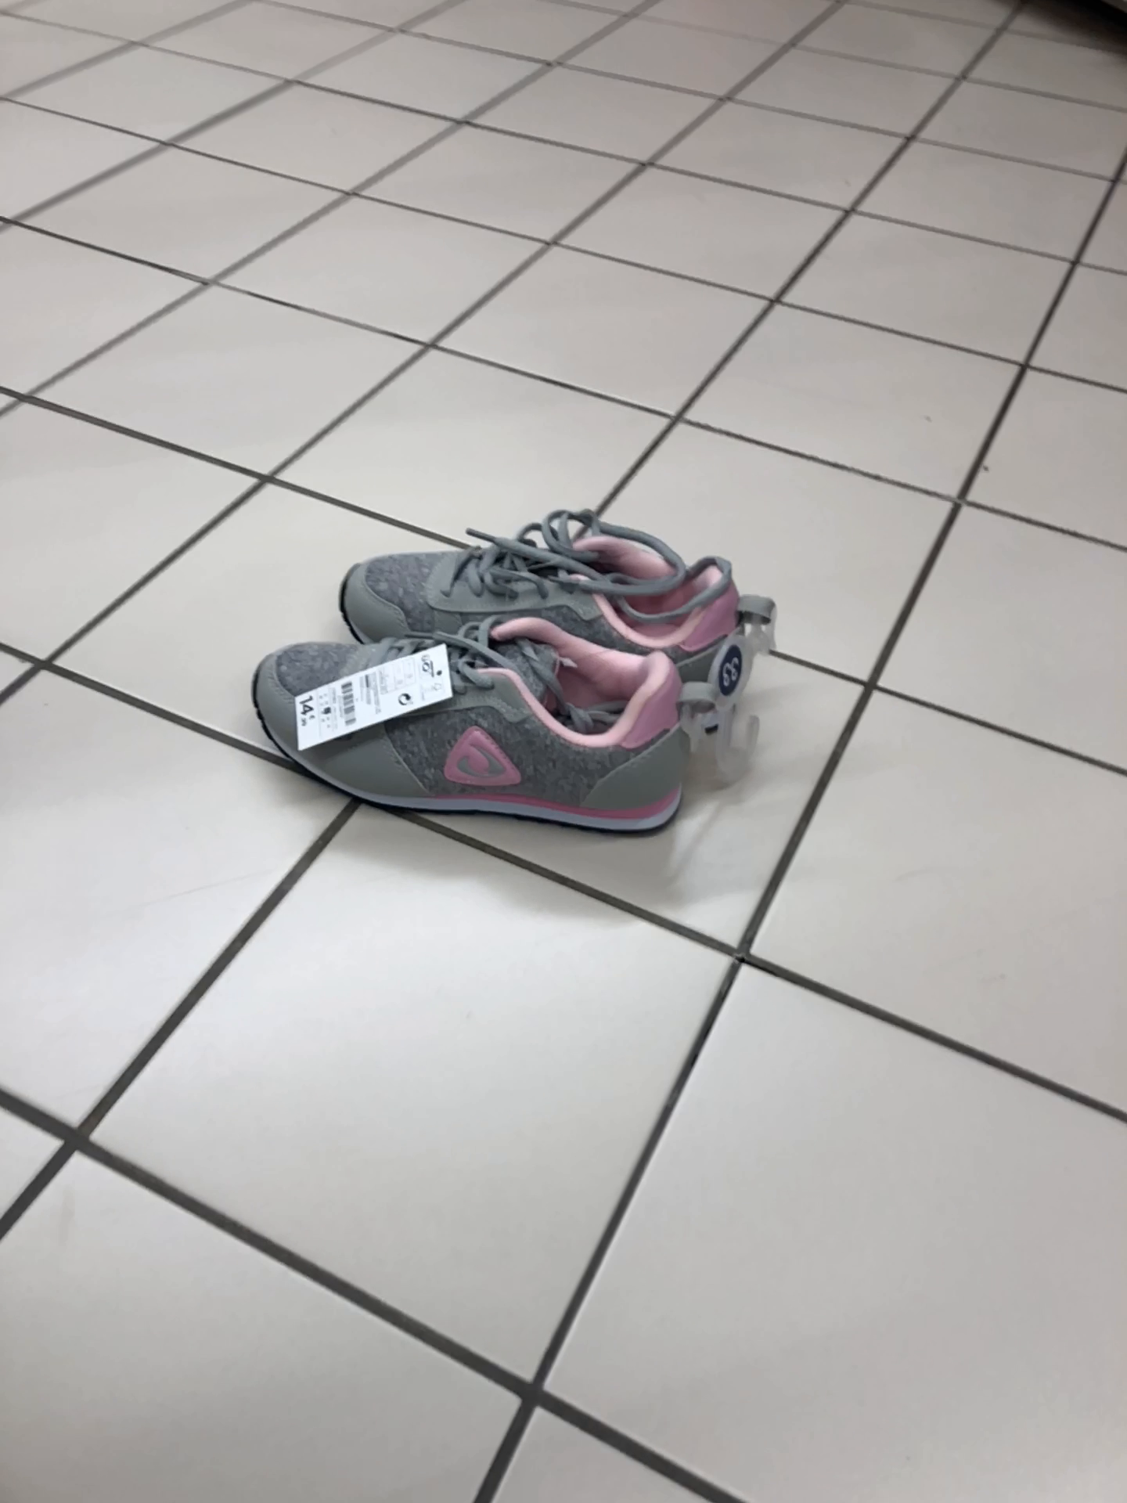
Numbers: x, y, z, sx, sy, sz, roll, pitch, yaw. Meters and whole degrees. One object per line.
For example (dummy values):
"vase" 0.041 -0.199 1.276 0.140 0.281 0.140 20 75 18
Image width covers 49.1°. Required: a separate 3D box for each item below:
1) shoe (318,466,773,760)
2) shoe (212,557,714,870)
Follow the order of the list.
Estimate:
"shoe" -0.008 -0.074 0.646 0.214 0.083 0.082 12 46 8
"shoe" -0.044 -0.019 0.591 0.214 0.083 0.082 9 46 6
